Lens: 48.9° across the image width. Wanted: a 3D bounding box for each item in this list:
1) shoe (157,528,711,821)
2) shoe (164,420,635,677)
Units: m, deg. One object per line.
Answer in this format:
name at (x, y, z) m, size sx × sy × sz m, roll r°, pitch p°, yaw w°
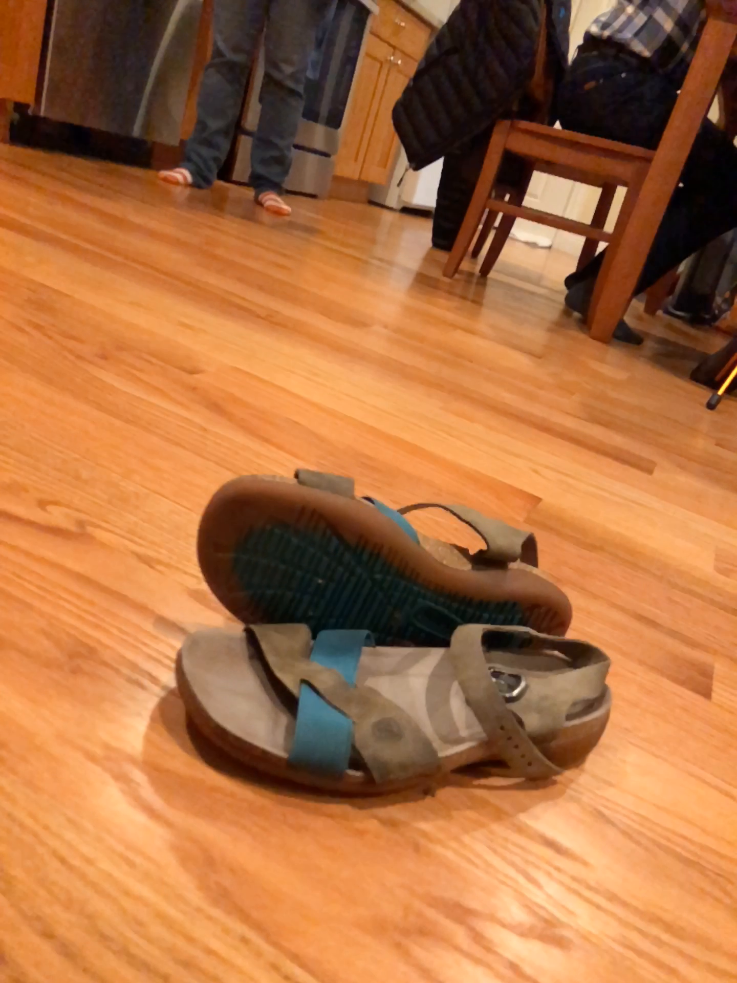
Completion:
shoe at (0.029, 0.088, 0.399) m, size 0.240 × 0.075 × 0.105 m, roll 7°, pitch 24°, yaw -23°
shoe at (0.018, 0.038, 0.455) m, size 0.238 × 0.104 × 0.065 m, roll 7°, pitch 23°, yaw -23°
